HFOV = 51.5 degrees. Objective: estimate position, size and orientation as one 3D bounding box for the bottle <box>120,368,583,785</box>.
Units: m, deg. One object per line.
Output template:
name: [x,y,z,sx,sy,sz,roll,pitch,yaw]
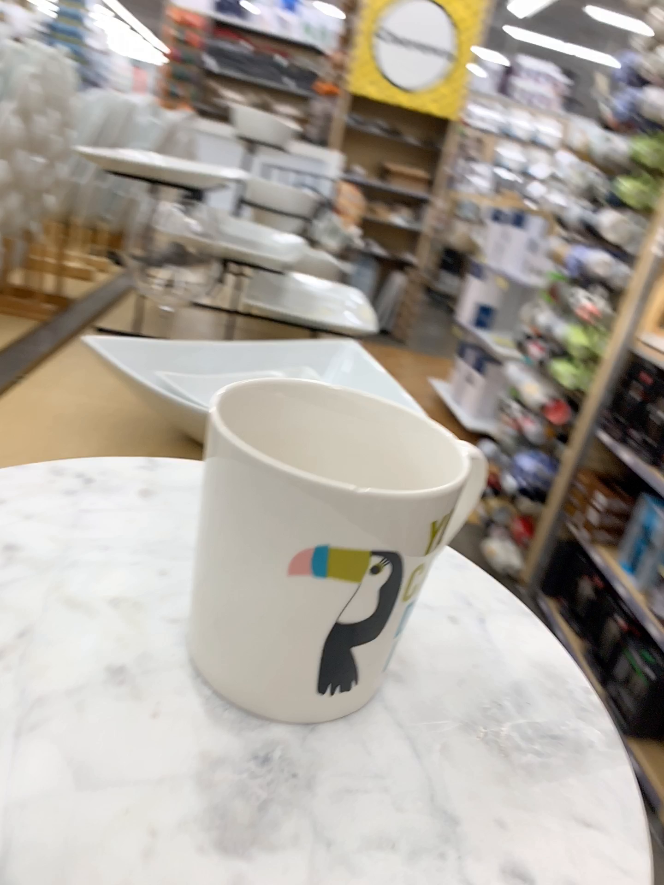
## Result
bottle: [0.007,0.038,0.292,0.143,0.107,0.104,-6,29,-42]
